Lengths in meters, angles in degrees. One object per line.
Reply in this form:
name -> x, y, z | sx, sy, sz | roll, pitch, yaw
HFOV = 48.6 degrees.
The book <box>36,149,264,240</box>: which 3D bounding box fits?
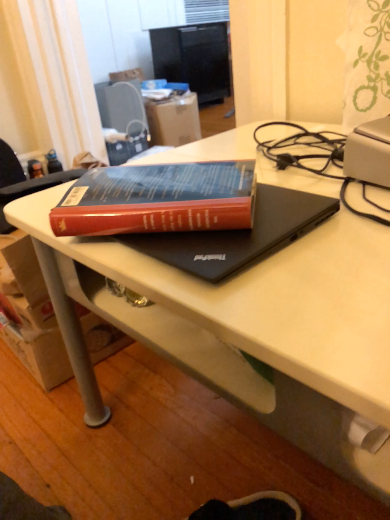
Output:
book -> -0.041, -0.085, 0.533 | 0.240, 0.040, 0.171 | -3, 27, 13
